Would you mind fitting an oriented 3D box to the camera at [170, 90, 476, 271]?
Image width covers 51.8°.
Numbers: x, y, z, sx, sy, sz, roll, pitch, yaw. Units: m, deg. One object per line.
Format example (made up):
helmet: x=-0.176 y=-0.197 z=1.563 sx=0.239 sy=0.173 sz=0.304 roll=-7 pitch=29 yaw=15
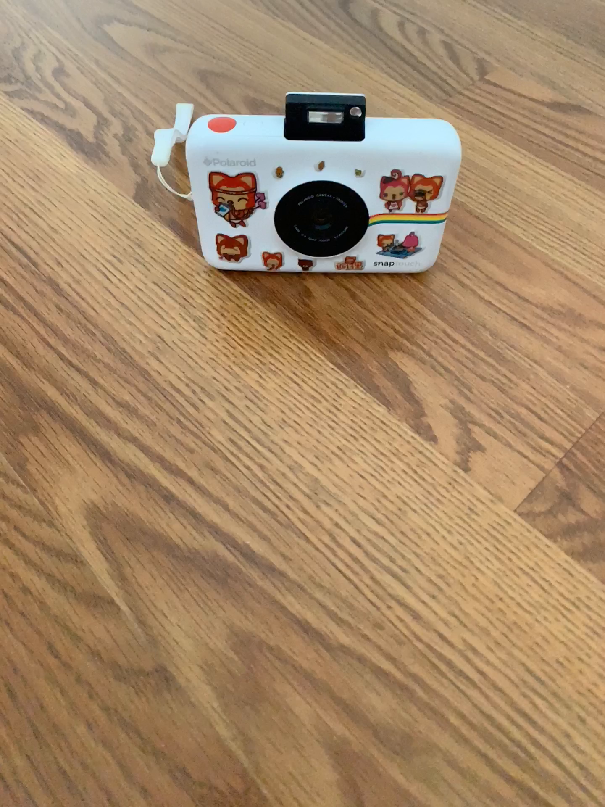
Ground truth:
camera: x=0.009 y=-0.102 z=0.297 sx=0.125 sy=0.081 sz=0.026 roll=1 pitch=56 yaw=1
